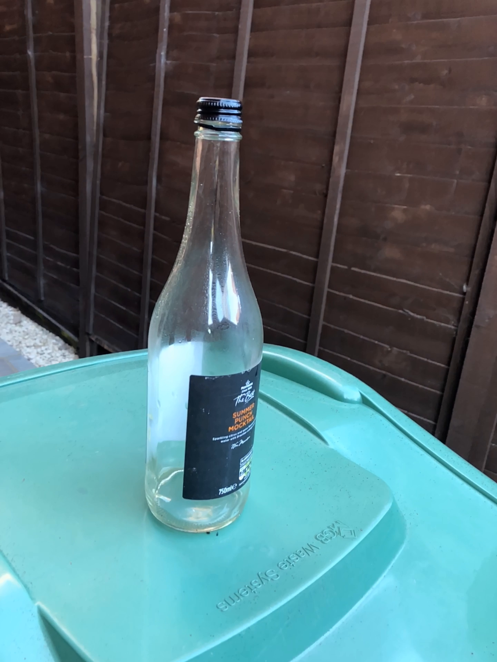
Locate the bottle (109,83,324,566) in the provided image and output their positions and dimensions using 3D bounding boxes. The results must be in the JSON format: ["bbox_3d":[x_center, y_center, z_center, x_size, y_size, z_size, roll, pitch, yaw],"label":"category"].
[{"bbox_3d":[-0.029,-0.002,0.367,0.080,0.288,0.090,21,24,35],"label":"bottle"}]
